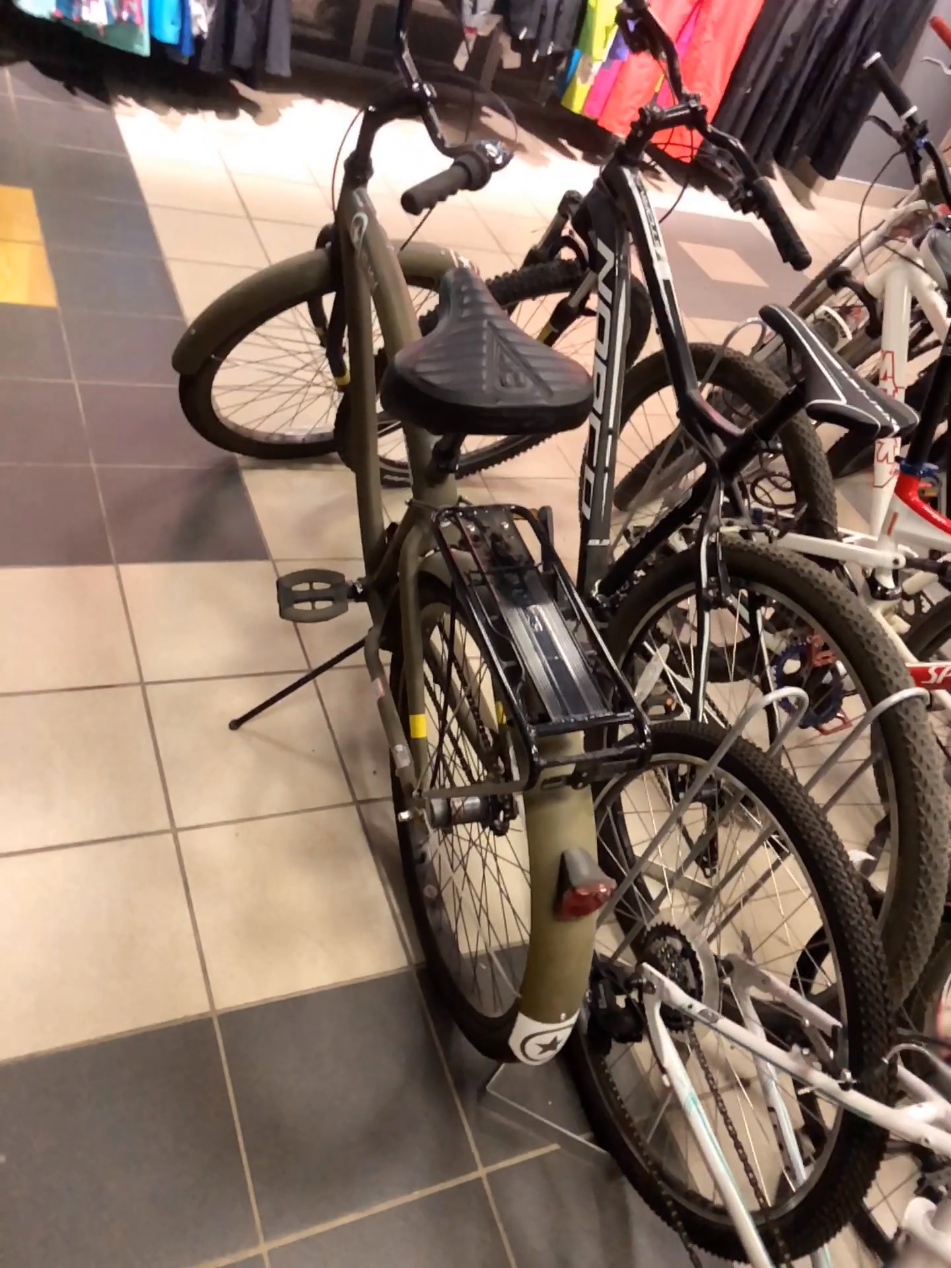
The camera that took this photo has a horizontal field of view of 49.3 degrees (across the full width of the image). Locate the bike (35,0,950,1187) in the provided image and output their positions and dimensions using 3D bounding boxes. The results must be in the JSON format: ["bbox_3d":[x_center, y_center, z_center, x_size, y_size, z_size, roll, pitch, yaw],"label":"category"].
[{"bbox_3d":[0.049,-0.302,1.468,0.832,1.130,1.504,10,47,-16],"label":"bike"}]

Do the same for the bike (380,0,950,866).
[{"bbox_3d":[0.331,-0.466,1.763,0.664,1.228,0.978,7,51,-20],"label":"bike"}]
